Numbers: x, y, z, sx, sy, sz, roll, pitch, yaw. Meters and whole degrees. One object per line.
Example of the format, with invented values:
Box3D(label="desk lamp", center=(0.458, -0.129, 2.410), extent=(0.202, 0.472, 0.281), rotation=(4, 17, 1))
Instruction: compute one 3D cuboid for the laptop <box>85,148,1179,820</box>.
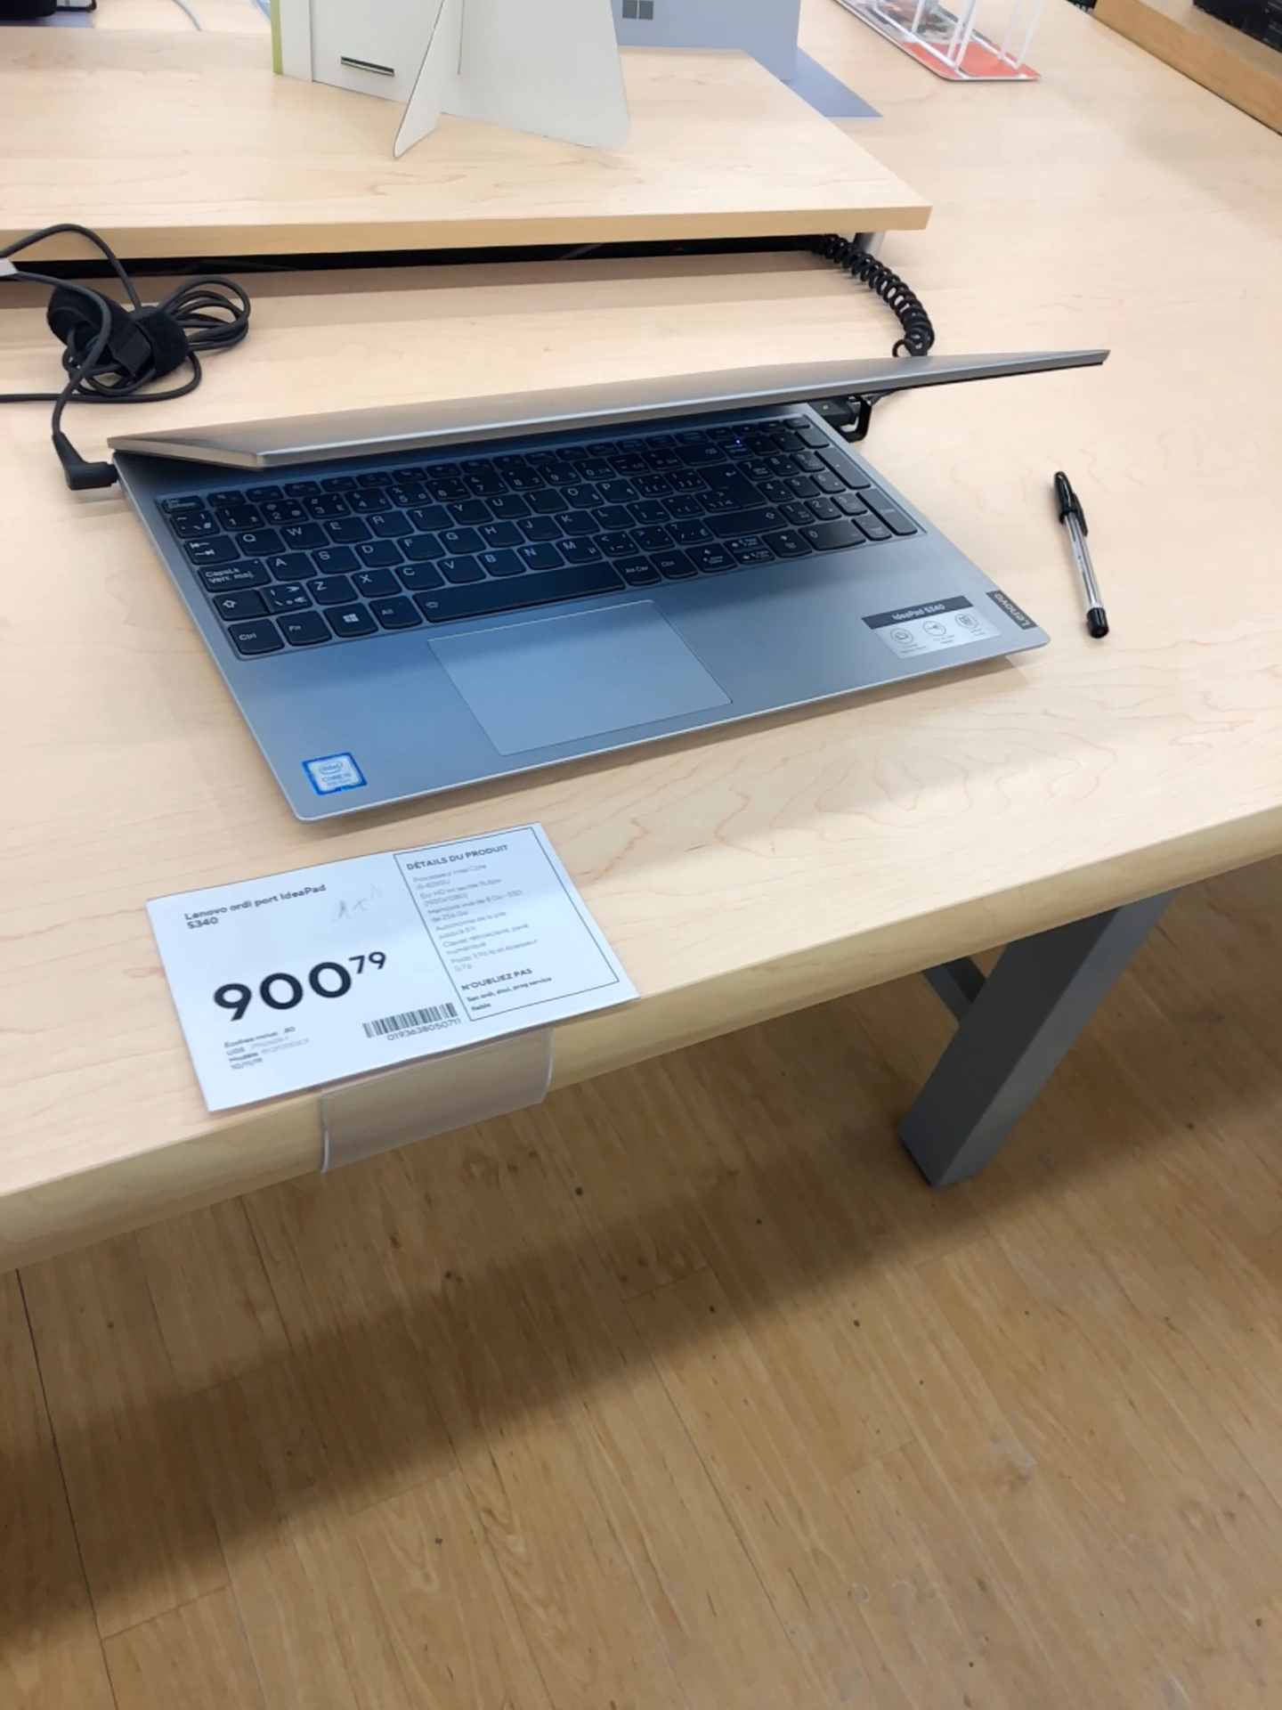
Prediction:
Box3D(label="laptop", center=(-0.009, -0.176, 0.577), extent=(0.352, 0.122, 0.234), rotation=(-16, 53, -27))
